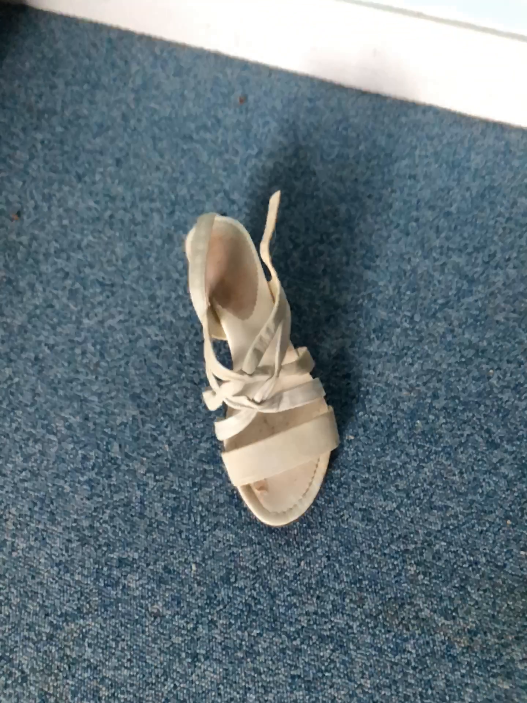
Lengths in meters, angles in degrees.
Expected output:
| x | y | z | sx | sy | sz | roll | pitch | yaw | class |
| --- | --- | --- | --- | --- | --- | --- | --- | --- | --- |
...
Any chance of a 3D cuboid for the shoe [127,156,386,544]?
| x | y | z | sx | sy | sz | roll | pitch | yaw | class |
| --- | --- | --- | --- | --- | --- | --- | --- | --- | --- |
| -0.011 | 0.000 | 0.424 | 0.100 | 0.110 | 0.240 | -17 | 68 | -4 | shoe |
